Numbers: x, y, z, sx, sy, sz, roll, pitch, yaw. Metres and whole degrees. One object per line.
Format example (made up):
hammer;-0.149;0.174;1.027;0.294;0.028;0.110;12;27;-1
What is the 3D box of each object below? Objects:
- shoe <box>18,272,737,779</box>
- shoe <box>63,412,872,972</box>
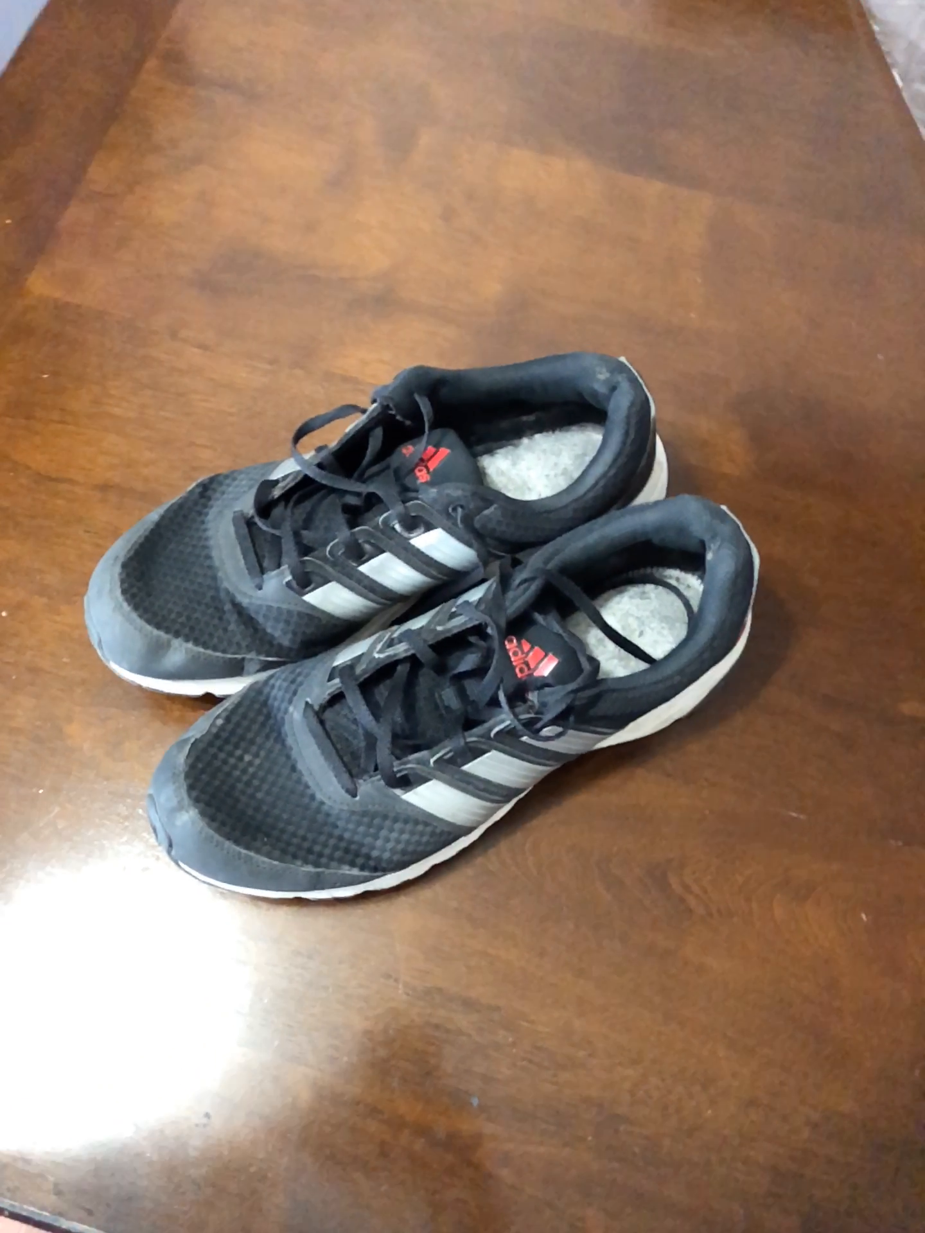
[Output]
shoe;-0.038;-0.042;0.503;0.290;0.120;0.120;-20;70;-10
shoe;0.002;0.038;0.457;0.290;0.130;0.120;-20;70;-10
